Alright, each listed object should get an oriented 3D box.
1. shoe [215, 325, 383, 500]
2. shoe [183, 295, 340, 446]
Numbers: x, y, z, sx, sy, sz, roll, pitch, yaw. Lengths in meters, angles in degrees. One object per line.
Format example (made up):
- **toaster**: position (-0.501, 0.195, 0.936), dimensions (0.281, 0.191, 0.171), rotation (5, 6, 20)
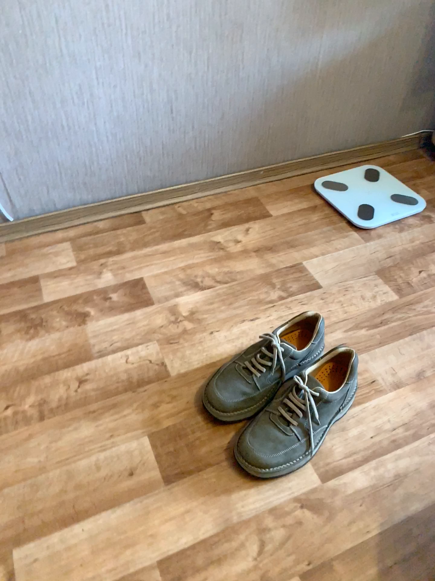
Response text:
- **shoe**: position (0.145, 0.205, 0.791), dimensions (0.291, 0.110, 0.120), rotation (-32, 54, -29)
- **shoe**: position (0.087, 0.147, 0.875), dimensions (0.290, 0.119, 0.120), rotation (-29, 53, -27)
